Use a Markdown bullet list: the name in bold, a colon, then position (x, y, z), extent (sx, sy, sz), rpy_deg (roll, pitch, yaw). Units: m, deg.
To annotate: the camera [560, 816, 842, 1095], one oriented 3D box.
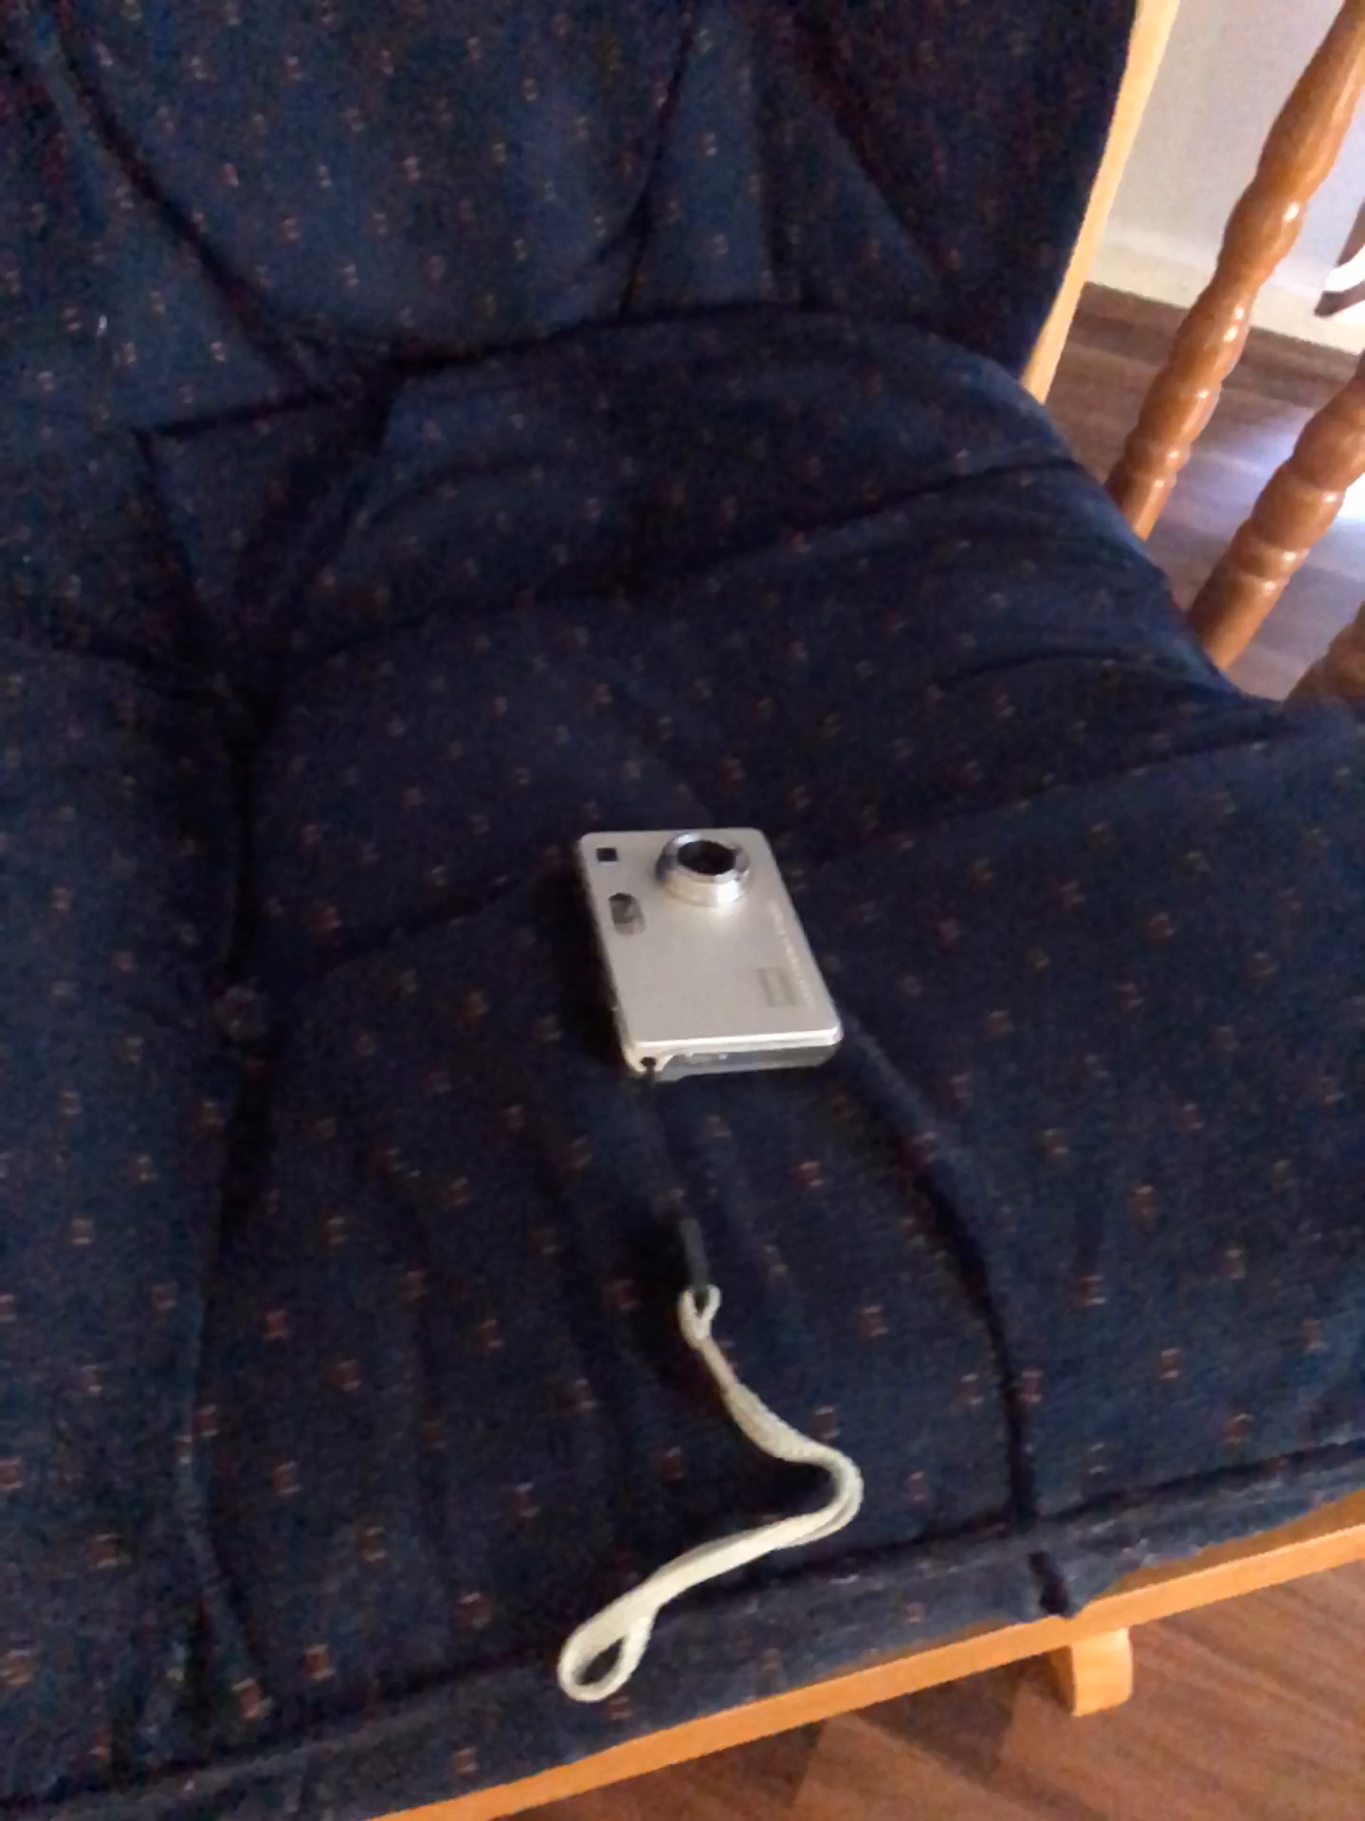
- **camera**: position (0.002, 0.009, 0.408), extent (0.058, 0.018, 0.085), rpy_deg (-3, 43, -13)
